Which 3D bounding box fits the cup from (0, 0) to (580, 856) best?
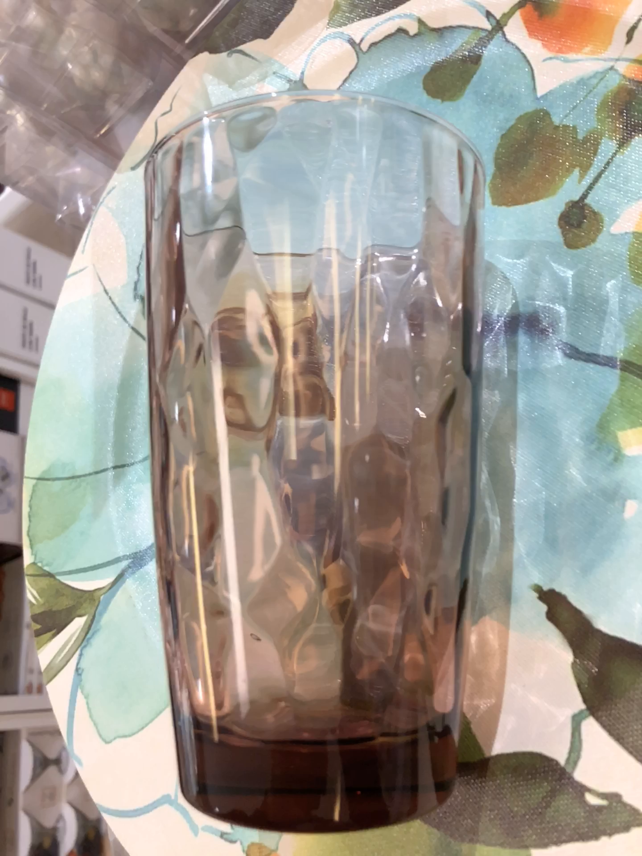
[{"bbox_3d":[-0.004,0.011,0.161,0.090,0.080,0.150,-9,70,37],"label":"cup"}]
